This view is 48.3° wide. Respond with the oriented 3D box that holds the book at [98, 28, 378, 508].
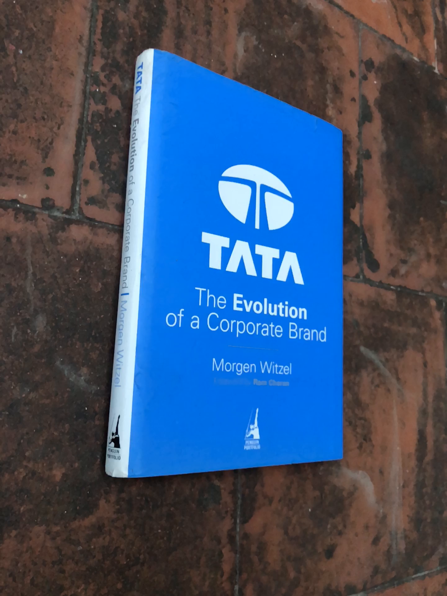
[{"bbox_3d":[0.021,-0.012,0.307,0.171,0.040,0.240,9,78,-34],"label":"book"}]
